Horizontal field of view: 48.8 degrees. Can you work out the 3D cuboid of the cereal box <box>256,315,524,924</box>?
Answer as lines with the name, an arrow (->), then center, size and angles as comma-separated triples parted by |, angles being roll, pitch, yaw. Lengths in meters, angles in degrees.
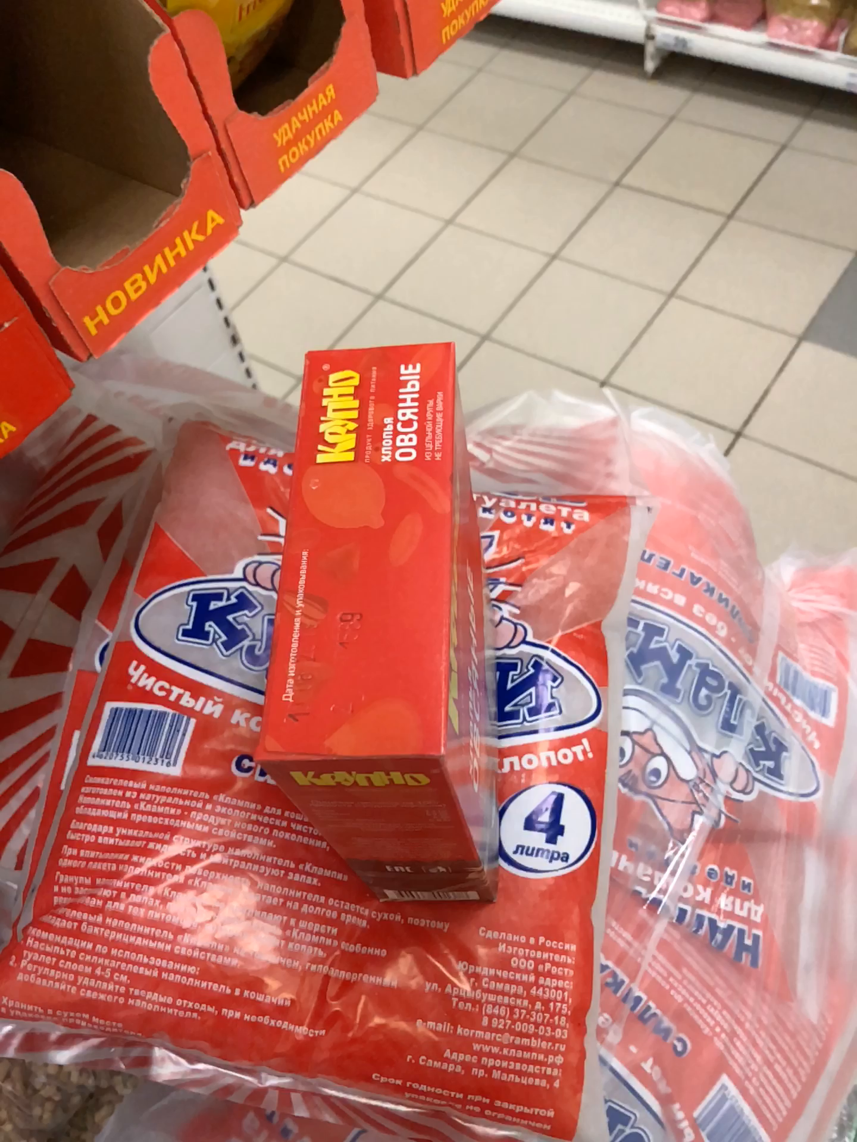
cereal box -> 0.000, 0.034, 0.355 | 0.060, 0.199, 0.151 | -2, 59, 6
